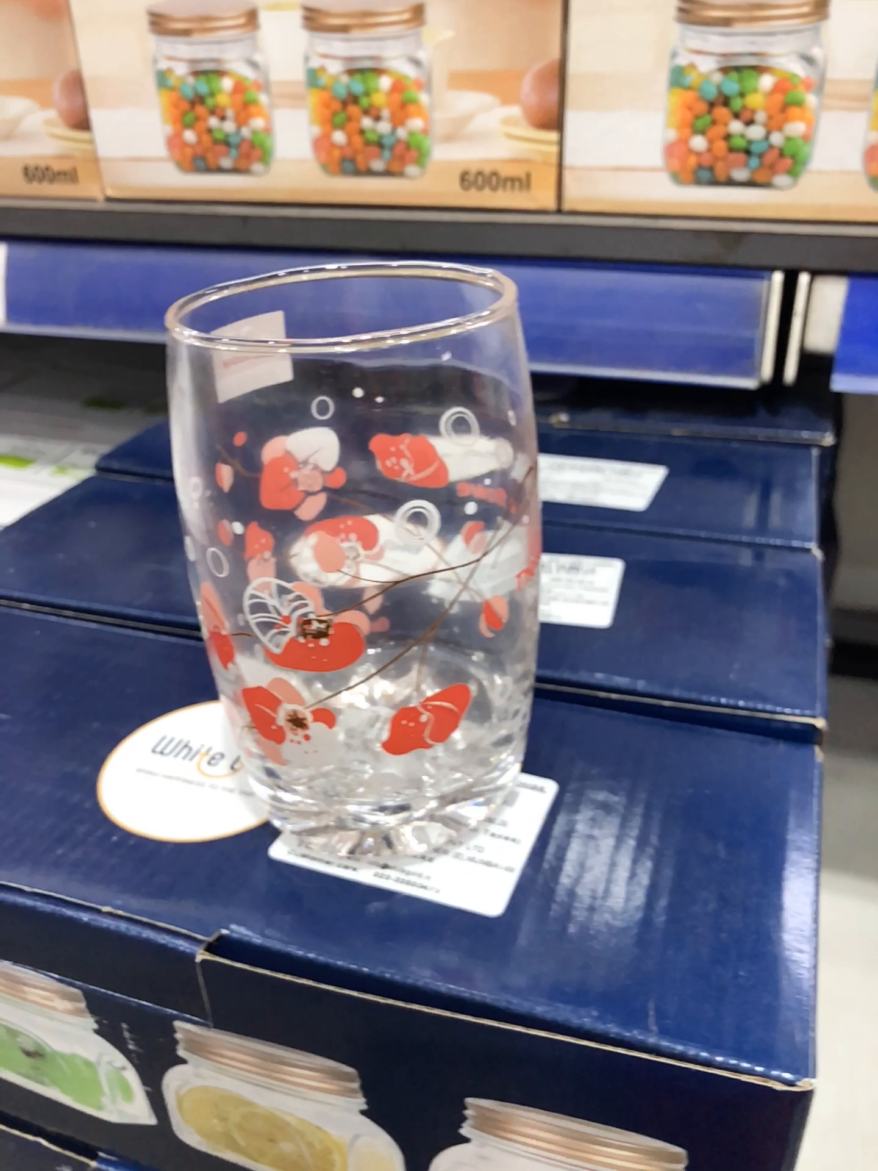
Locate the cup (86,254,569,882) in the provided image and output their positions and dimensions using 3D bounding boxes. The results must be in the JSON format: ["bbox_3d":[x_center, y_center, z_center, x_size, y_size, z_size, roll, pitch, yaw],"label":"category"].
[{"bbox_3d":[-0.012,-0.006,0.197,0.070,0.100,0.070,-1,30,1],"label":"cup"}]
